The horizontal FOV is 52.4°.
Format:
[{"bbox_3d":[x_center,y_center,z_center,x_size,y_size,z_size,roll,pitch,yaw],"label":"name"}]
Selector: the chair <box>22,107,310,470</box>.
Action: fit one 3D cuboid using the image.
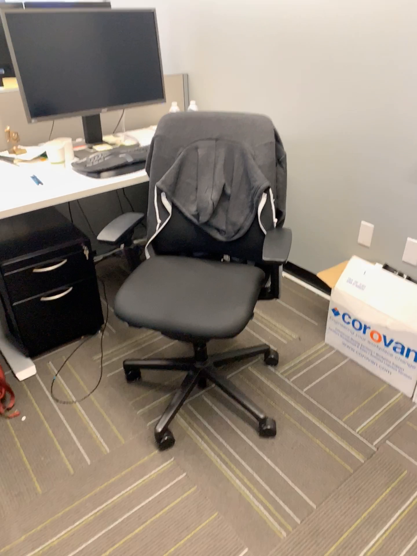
[{"bbox_3d":[-0.033,-0.021,1.559,0.681,0.994,0.804,5,32,10],"label":"chair"}]
